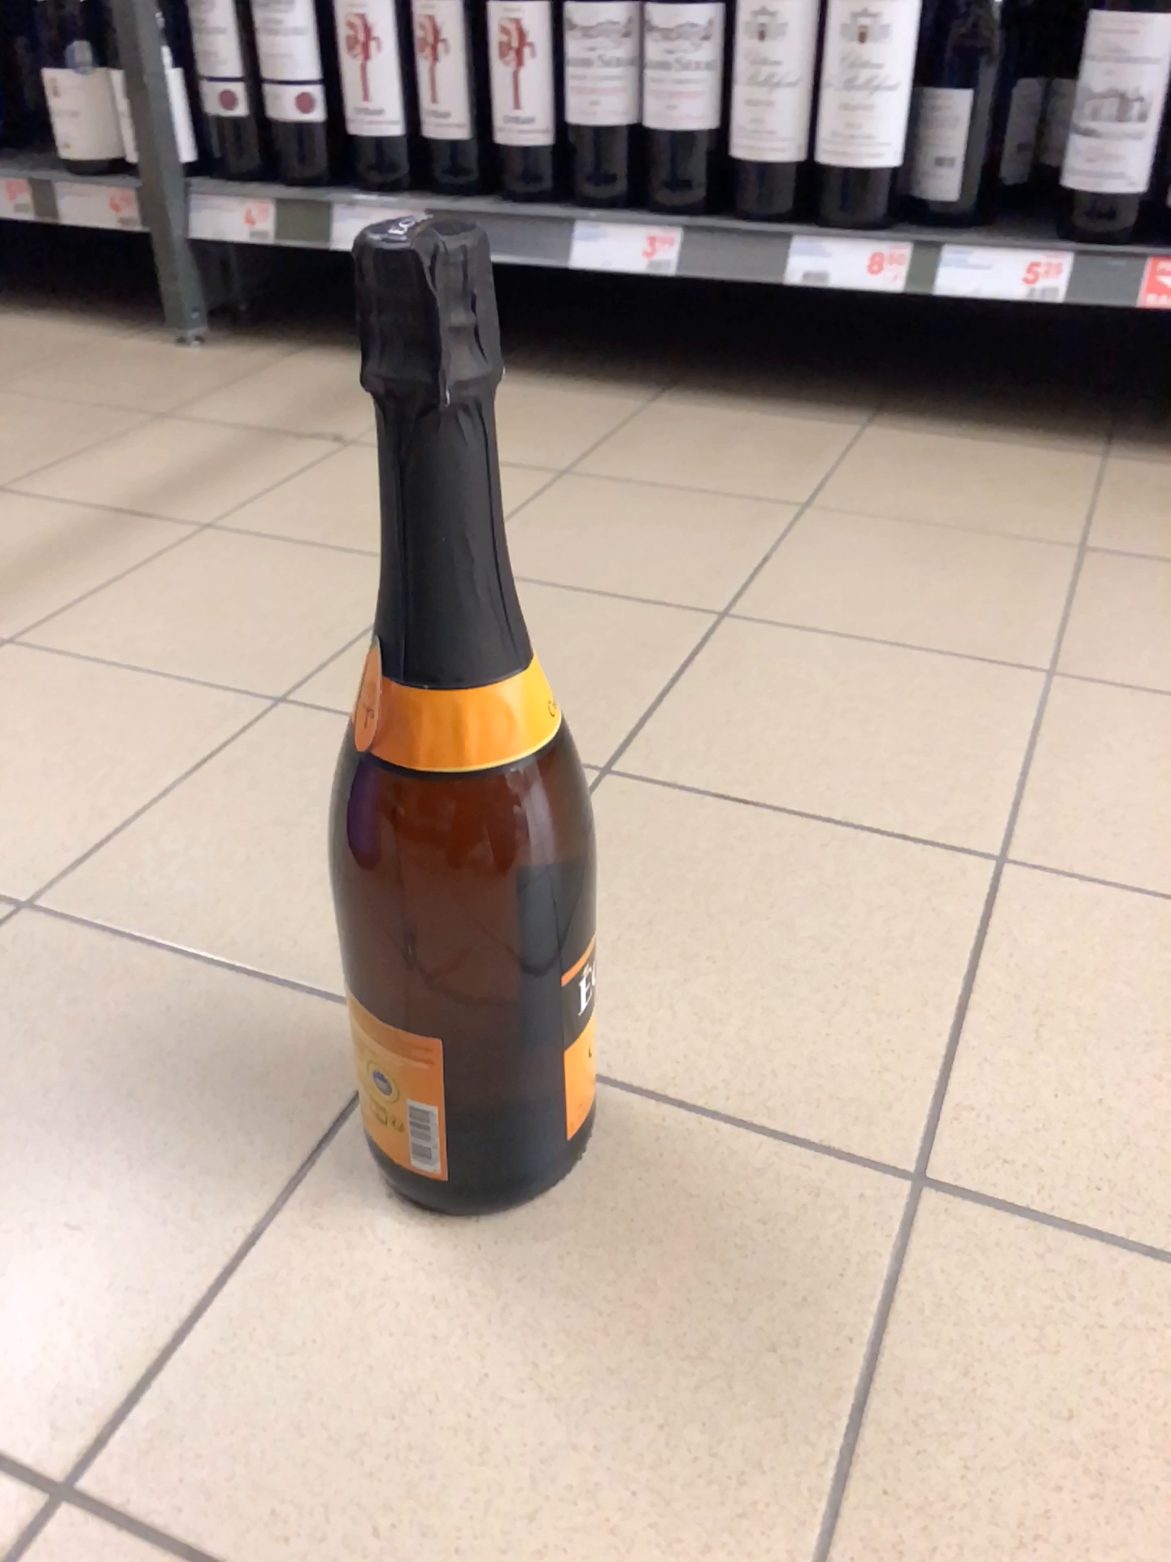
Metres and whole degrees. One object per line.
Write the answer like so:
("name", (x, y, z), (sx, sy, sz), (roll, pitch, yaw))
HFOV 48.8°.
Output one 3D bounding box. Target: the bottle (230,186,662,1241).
("bottle", (-0.037, -0.007, 0.386), (0.090, 0.298, 0.090), (0, 32, 0))
